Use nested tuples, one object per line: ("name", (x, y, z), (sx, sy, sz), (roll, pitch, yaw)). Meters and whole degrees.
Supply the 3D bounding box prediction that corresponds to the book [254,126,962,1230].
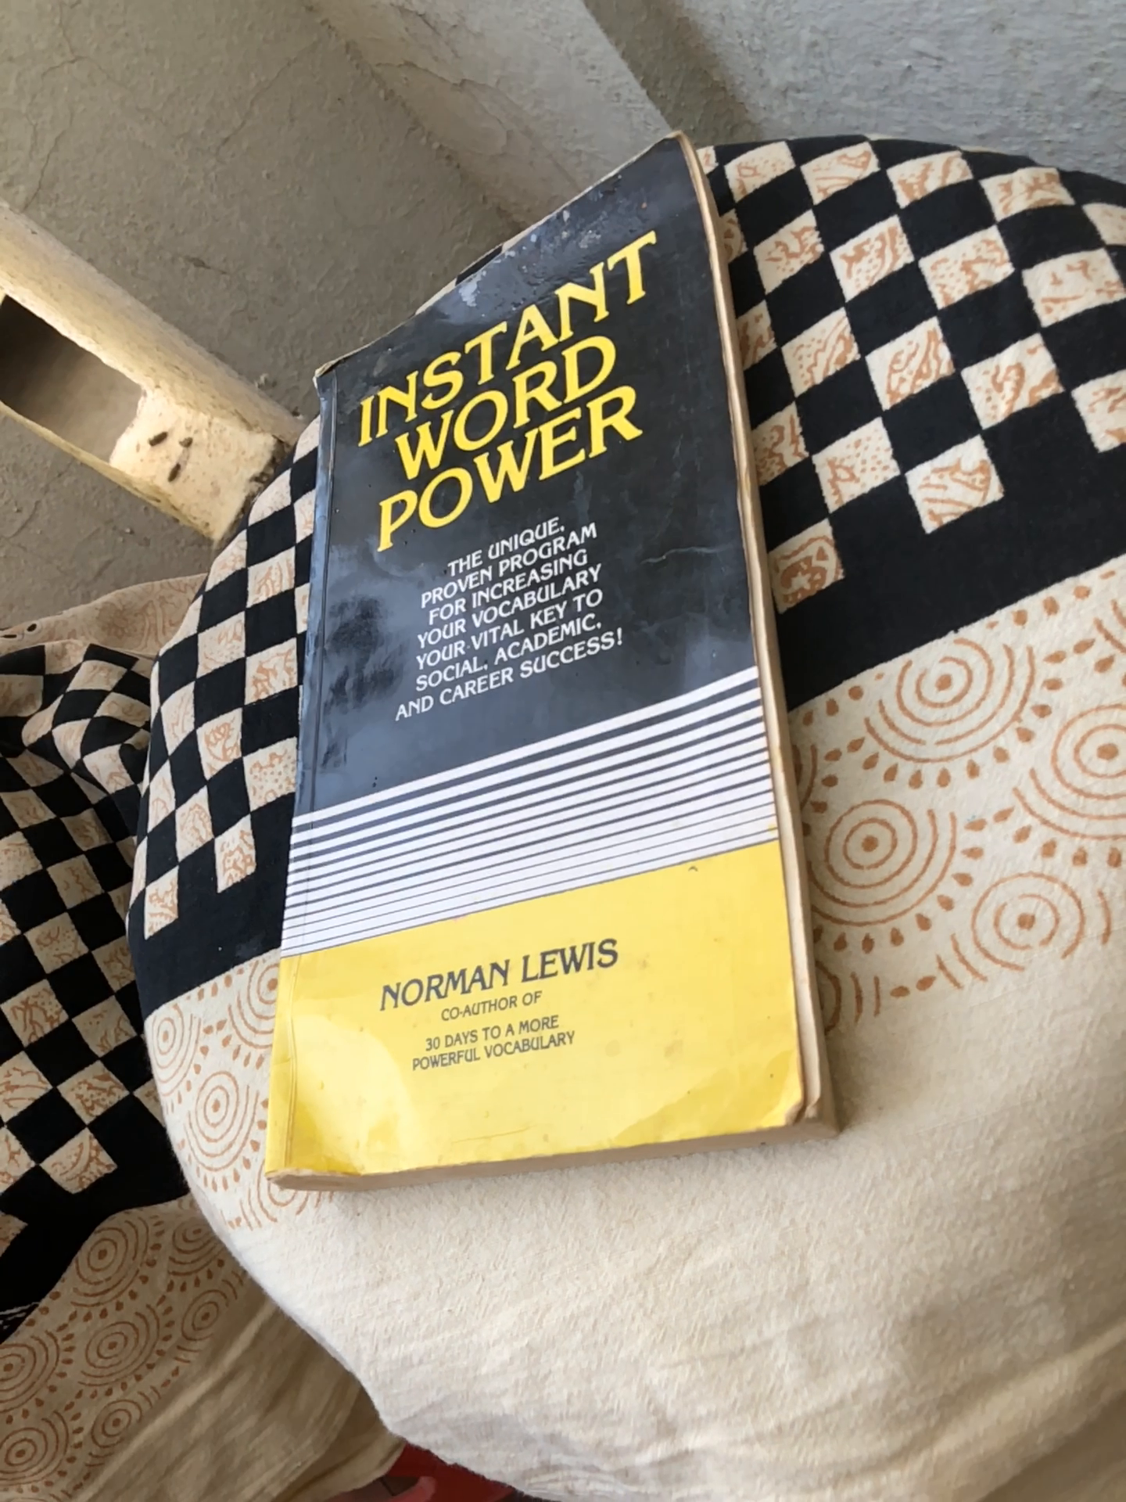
("book", (0.005, -0.033, 0.357), (0.161, 0.040, 0.300), (-21, 51, 30))
